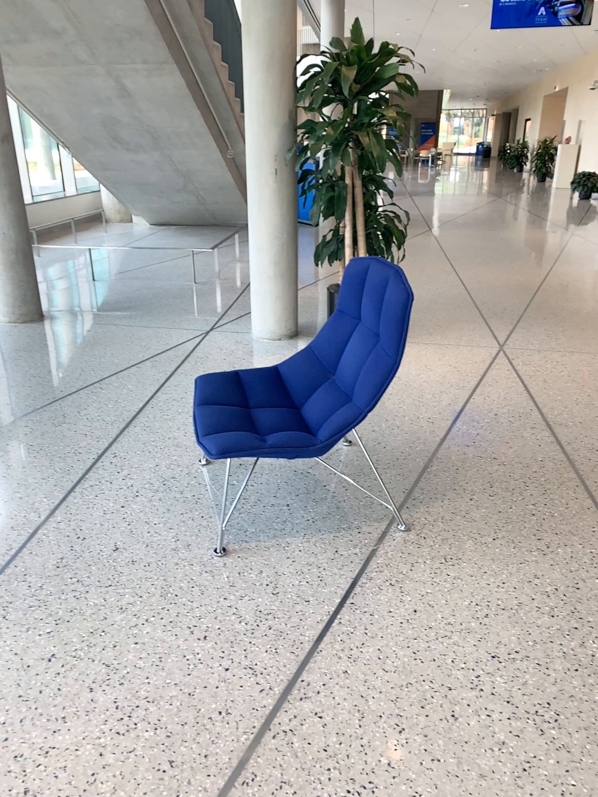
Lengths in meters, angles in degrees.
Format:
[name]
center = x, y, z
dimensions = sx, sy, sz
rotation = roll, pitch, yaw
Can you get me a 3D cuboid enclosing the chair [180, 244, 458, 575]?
[chair]
center = 0.006, -0.027, 2.350
dimensions = 0.828, 0.965, 0.803
rotation = -4, 23, -11
